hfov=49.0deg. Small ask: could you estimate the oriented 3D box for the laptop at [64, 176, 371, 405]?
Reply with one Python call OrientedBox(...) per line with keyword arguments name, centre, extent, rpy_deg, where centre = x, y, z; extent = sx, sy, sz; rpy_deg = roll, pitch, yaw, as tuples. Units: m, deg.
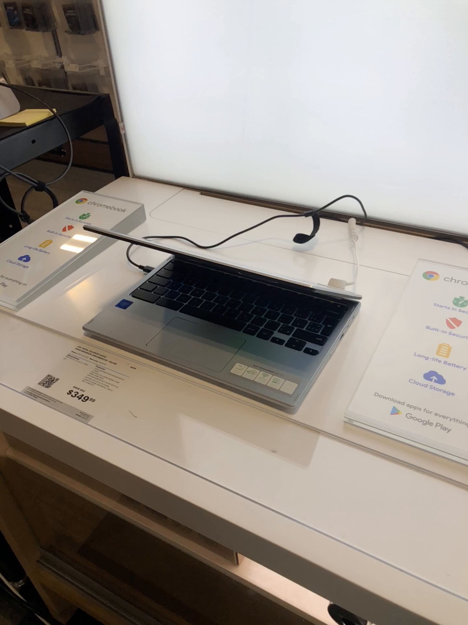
OrientedBox(name="laptop", centre=(-0.013, -0.045, 0.605), extent=(0.280, 0.123, 0.192), rpy_deg=(17, 41, 25))
